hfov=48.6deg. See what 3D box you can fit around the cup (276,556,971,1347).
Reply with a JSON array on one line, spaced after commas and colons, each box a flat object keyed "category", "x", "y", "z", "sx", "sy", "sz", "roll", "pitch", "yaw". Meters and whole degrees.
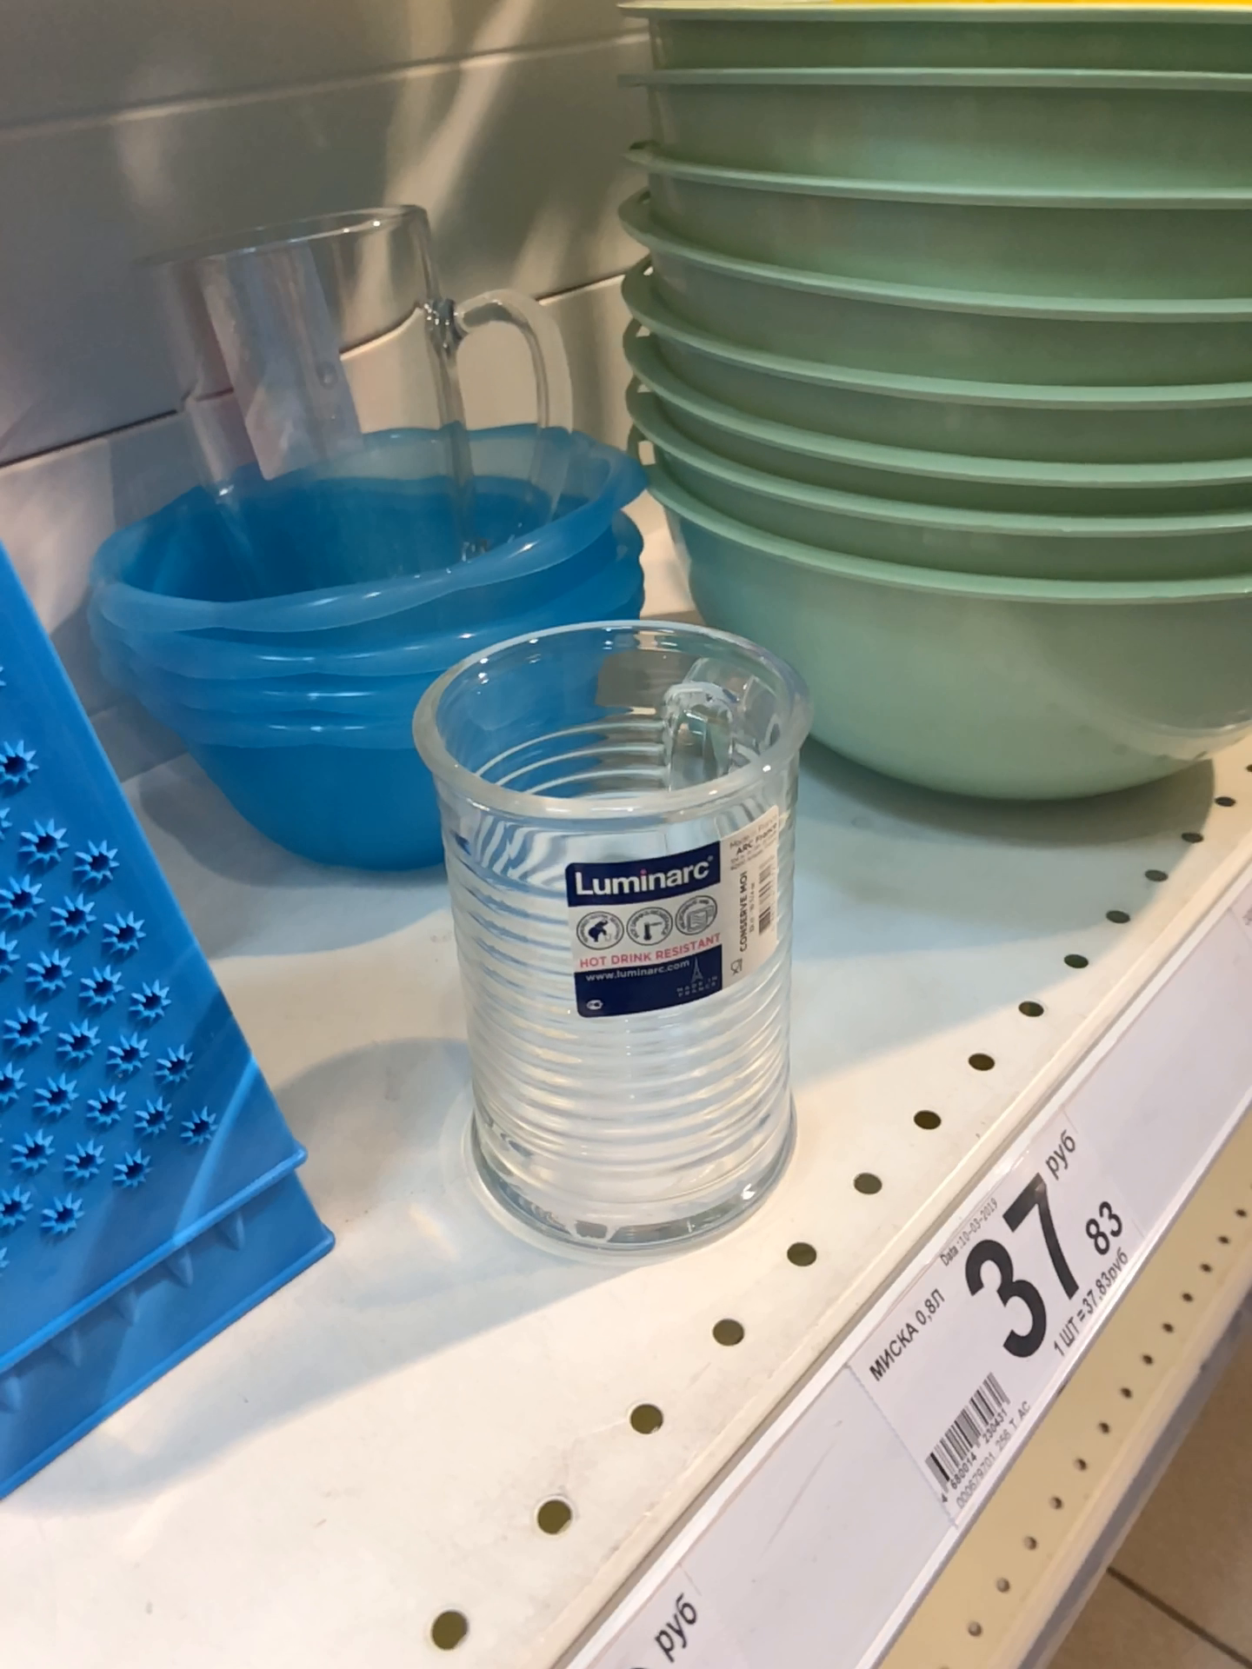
[{"category": "cup", "x": 0.004, "y": 0.017, "z": 0.291, "sx": 0.087, "sy": 0.104, "sz": 0.102, "roll": 23, "pitch": 42, "yaw": 32}]
